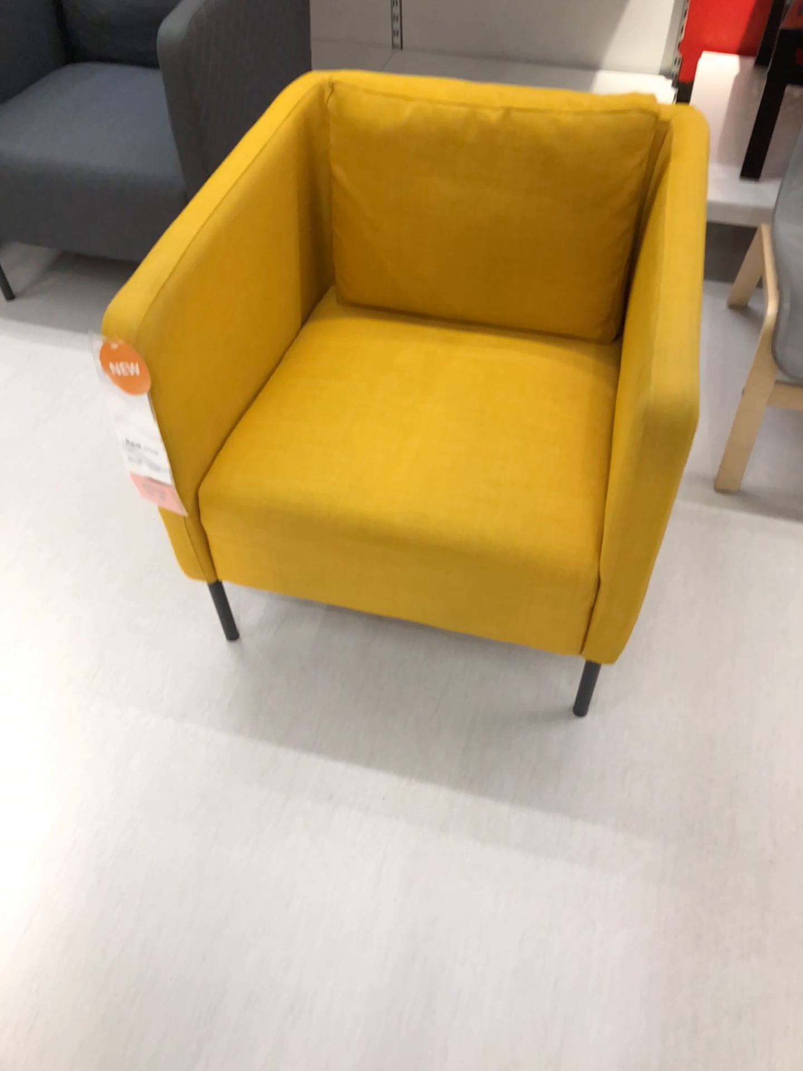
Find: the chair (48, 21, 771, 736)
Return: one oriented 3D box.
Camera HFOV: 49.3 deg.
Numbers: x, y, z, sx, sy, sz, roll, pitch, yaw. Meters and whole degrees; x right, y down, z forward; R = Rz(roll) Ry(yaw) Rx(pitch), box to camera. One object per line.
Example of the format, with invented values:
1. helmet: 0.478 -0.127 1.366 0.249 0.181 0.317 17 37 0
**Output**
1. chair: 0.073 -0.237 1.315 0.720 0.696 0.664 11 51 10
